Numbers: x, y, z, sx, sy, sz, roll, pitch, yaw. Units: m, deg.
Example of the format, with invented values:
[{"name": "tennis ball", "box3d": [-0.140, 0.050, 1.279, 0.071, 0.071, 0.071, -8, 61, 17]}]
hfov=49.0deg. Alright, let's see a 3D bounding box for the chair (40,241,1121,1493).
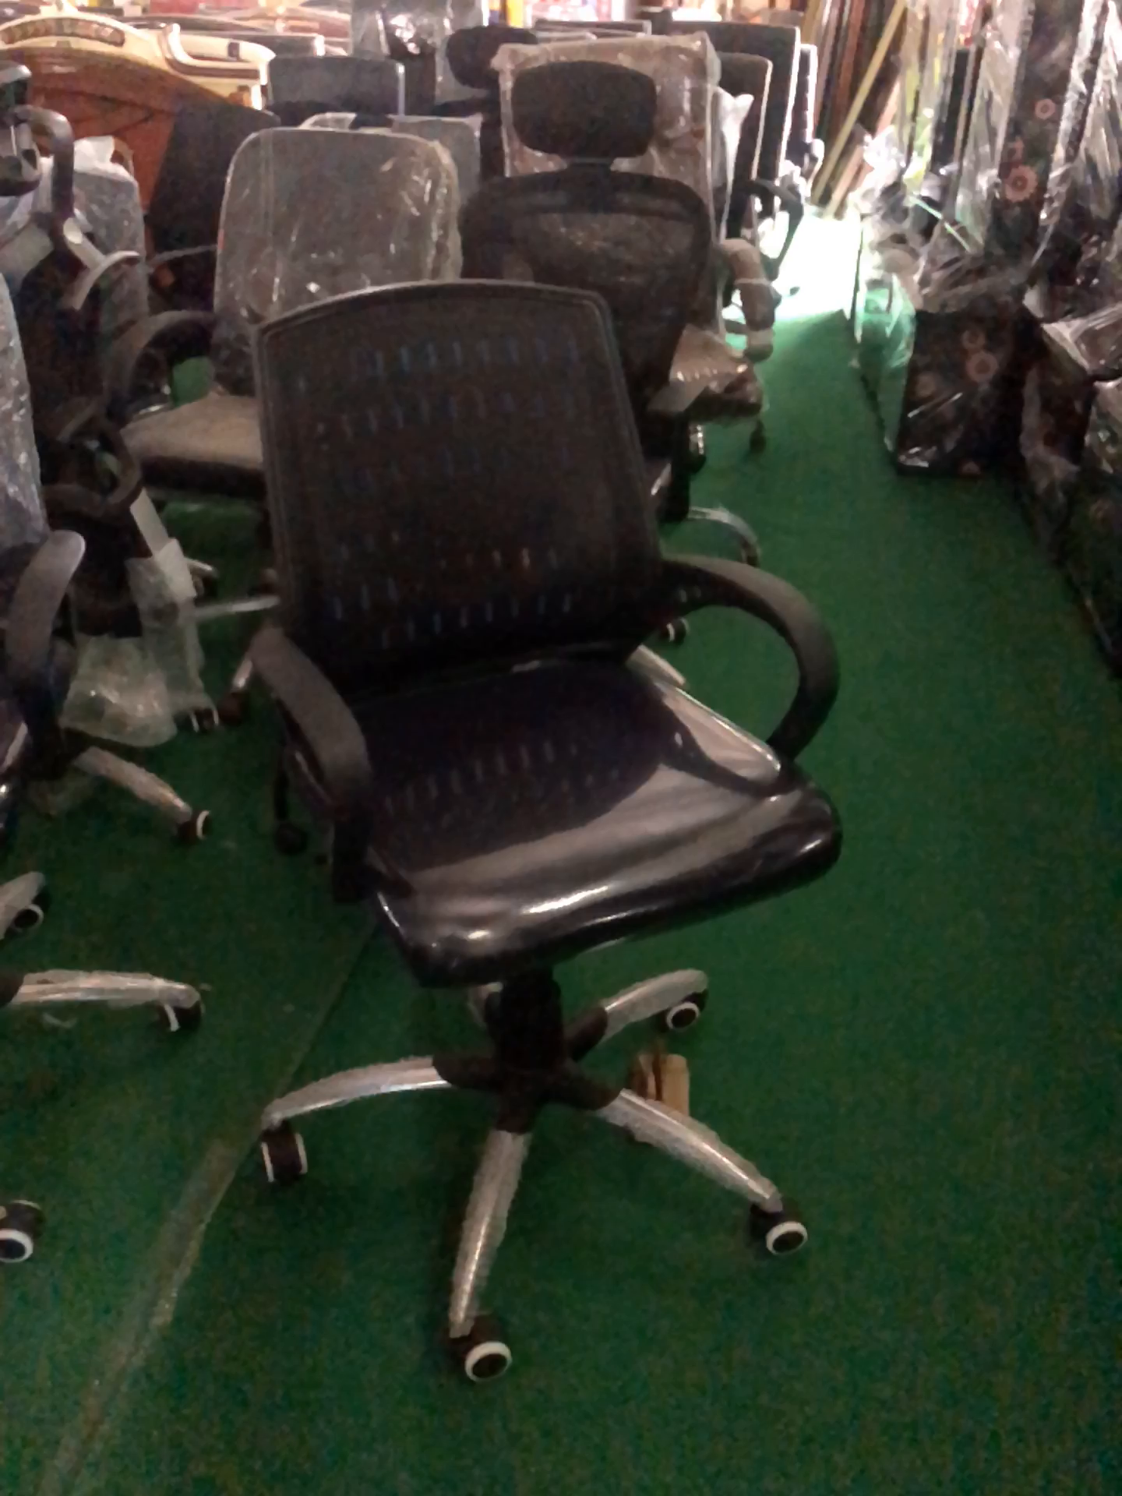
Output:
[{"name": "chair", "box3d": [-0.066, 0.022, 1.445, 0.732, 0.995, 0.872, -14, 34, -24]}]
